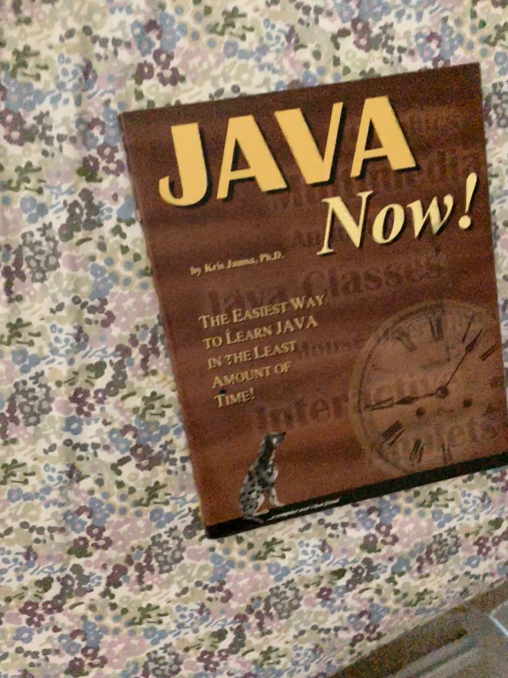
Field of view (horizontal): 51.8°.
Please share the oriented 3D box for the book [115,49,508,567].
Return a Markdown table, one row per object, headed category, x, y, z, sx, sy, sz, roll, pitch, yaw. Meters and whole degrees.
| category | x | y | z | sx | sy | sz | roll | pitch | yaw |
| --- | --- | --- | --- | --- | --- | --- | --- | --- | --- |
| book | 0.058 | -0.015 | 0.314 | 0.220 | 0.030 | 0.260 | -12 | 102 | -8 |
